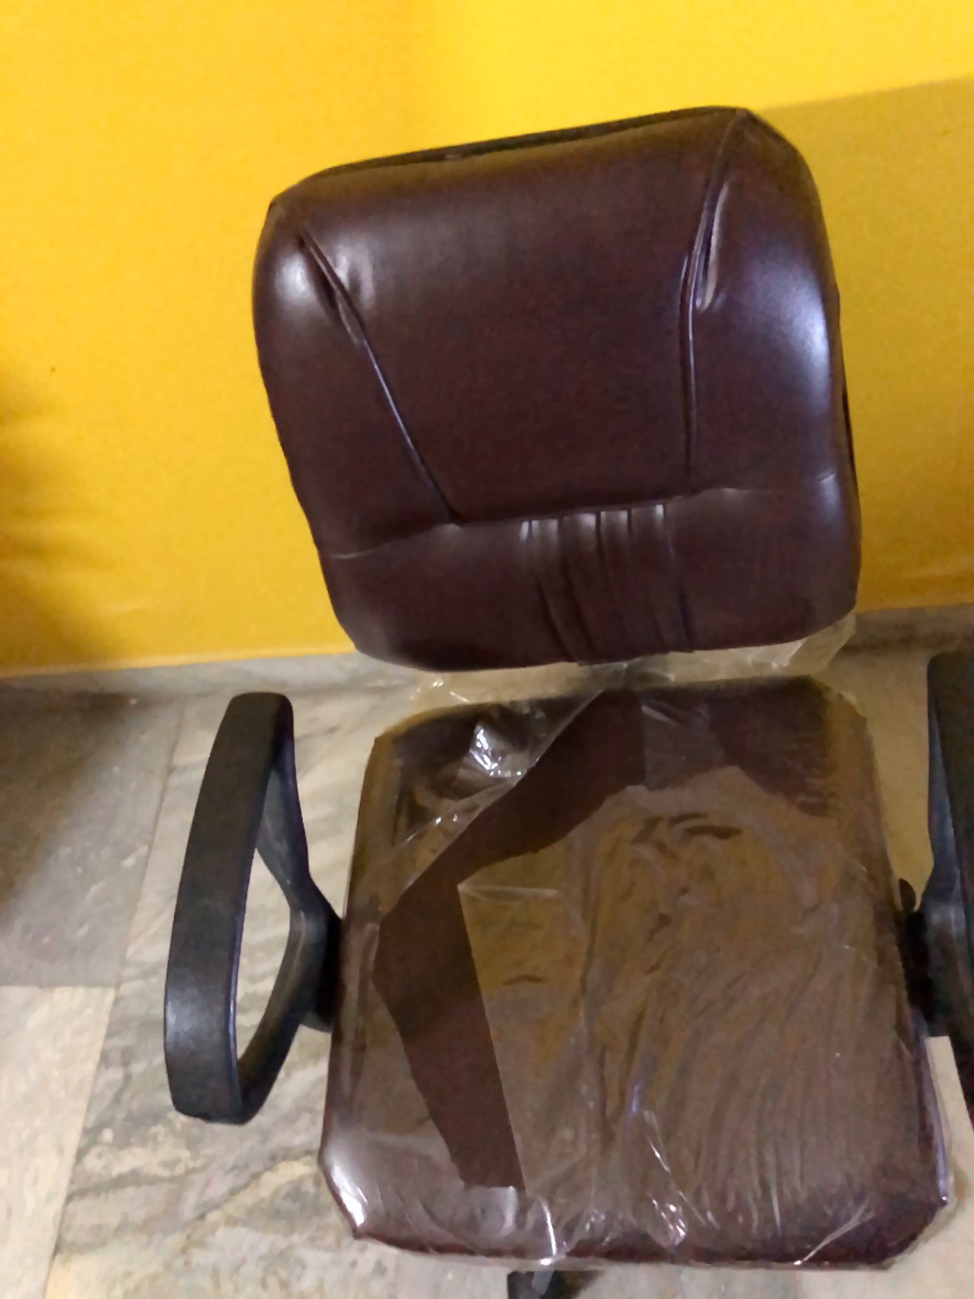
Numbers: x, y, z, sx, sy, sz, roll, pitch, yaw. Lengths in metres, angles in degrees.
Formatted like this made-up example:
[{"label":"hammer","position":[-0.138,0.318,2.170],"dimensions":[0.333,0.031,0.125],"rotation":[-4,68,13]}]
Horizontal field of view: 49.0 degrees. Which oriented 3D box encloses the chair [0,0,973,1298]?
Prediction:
[{"label":"chair","position":[0.086,0.170,0.874],"dimensions":[0.690,0.977,0.683],"rotation":[-8,57,12]}]
